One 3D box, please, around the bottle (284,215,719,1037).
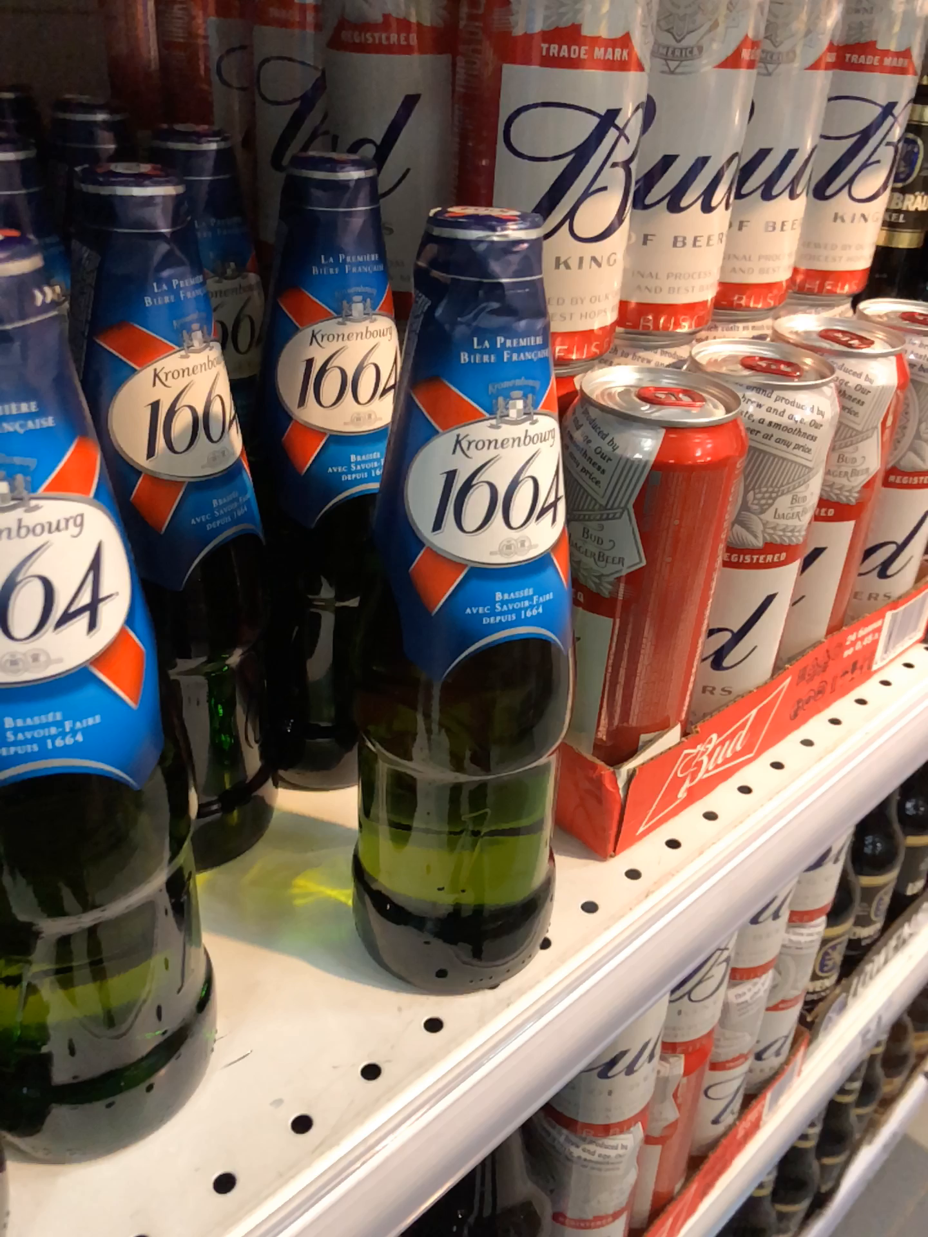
[{"bbox_3d":[-0.001,0.006,0.297,0.080,0.219,0.080,3,30,-2],"label":"bottle"}]
